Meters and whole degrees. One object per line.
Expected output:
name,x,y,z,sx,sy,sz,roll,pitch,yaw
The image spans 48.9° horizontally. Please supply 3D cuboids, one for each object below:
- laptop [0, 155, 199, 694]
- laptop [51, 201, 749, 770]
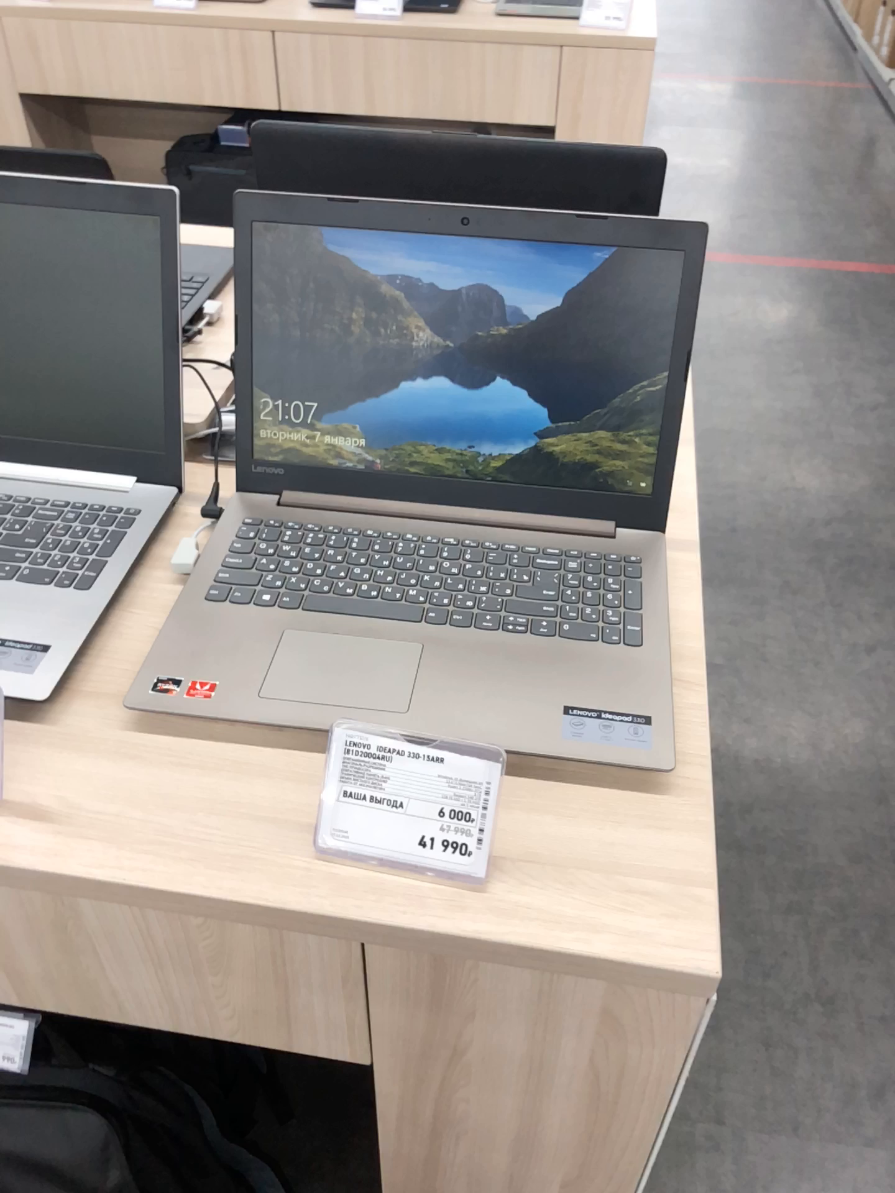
laptop,-0.408,-0.144,0.714,0.342,0.207,0.324,6,41,4
laptop,-0.006,-0.097,0.677,0.350,0.209,0.330,6,42,6
